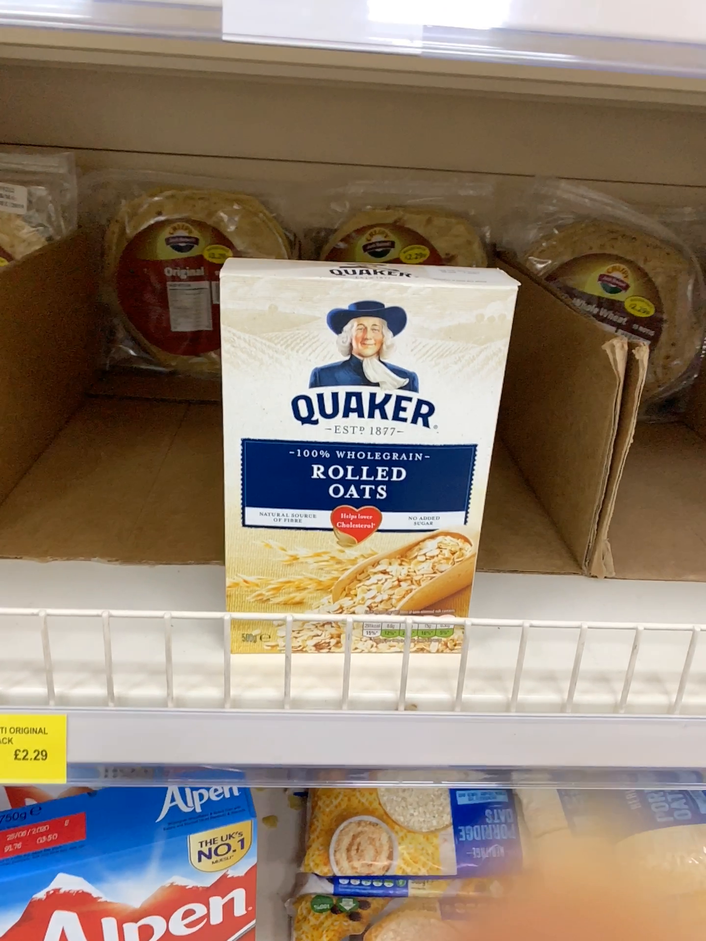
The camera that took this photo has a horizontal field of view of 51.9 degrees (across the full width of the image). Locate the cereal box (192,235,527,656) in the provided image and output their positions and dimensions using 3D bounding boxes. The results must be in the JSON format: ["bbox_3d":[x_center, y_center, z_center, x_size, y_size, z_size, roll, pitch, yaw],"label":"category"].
[{"bbox_3d":[-0.003,-0.007,0.395,0.150,0.218,0.061,1,24,-5],"label":"cereal box"}]
